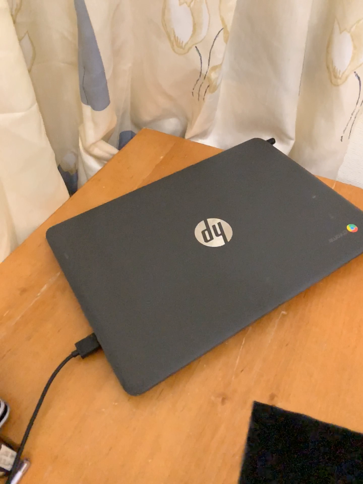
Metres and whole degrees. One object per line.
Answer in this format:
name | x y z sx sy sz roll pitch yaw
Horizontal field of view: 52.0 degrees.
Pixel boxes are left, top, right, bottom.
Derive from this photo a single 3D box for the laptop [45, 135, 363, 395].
laptop | 0.027 -0.011 0.348 0.261 0.004 0.185 -27 52 -18
